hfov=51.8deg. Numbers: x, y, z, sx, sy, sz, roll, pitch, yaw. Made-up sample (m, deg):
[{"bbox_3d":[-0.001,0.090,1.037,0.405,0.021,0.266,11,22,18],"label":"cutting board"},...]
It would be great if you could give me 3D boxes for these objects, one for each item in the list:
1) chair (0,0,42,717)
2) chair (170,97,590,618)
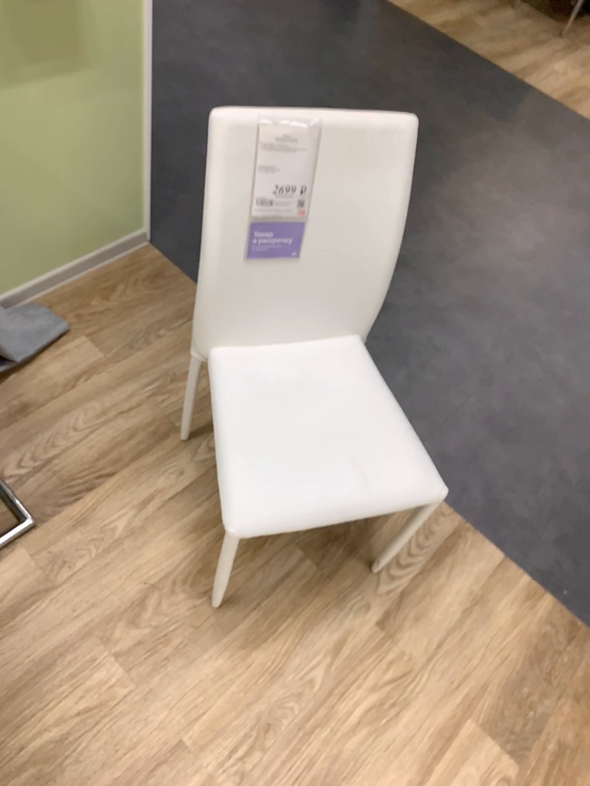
[{"bbox_3d":[-0.841,0.027,0.944,0.450,0.945,0.562,42,56,17],"label":"chair"},{"bbox_3d":[0.028,0.002,1.245,0.451,0.925,0.552,-6,56,-18],"label":"chair"}]
